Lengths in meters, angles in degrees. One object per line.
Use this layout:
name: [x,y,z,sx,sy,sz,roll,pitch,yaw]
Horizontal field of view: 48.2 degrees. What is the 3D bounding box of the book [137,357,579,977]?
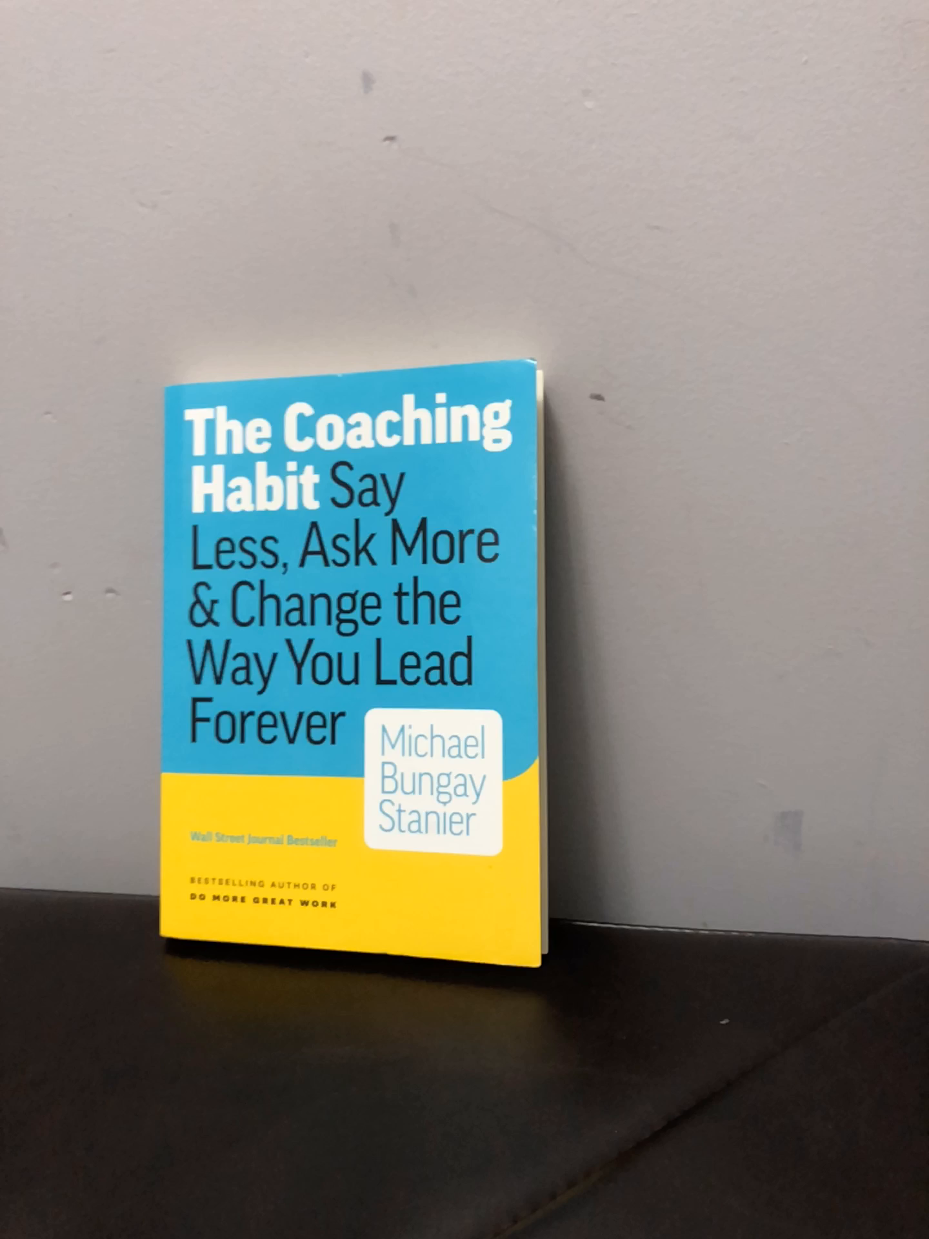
book: [-0.036,0.013,0.360,0.145,0.196,0.030,0,-4,14]
